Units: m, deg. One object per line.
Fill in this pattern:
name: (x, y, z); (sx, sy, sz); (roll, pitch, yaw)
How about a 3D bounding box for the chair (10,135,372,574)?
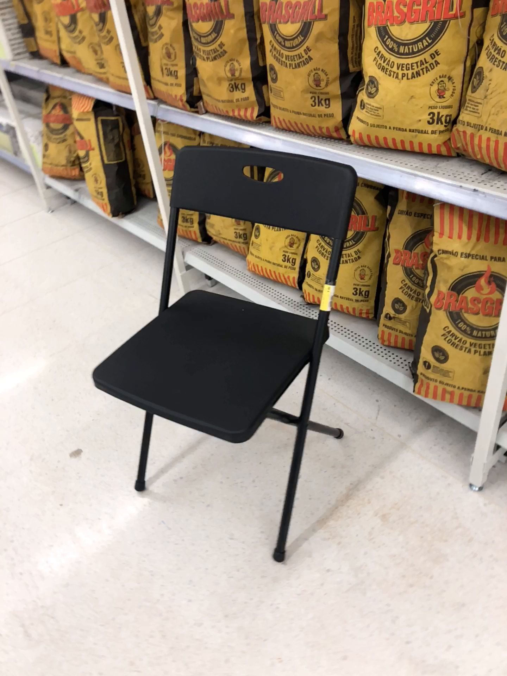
chair: (-0.057, 0.020, 1.188); (0.461, 0.715, 0.452); (16, 44, 29)
